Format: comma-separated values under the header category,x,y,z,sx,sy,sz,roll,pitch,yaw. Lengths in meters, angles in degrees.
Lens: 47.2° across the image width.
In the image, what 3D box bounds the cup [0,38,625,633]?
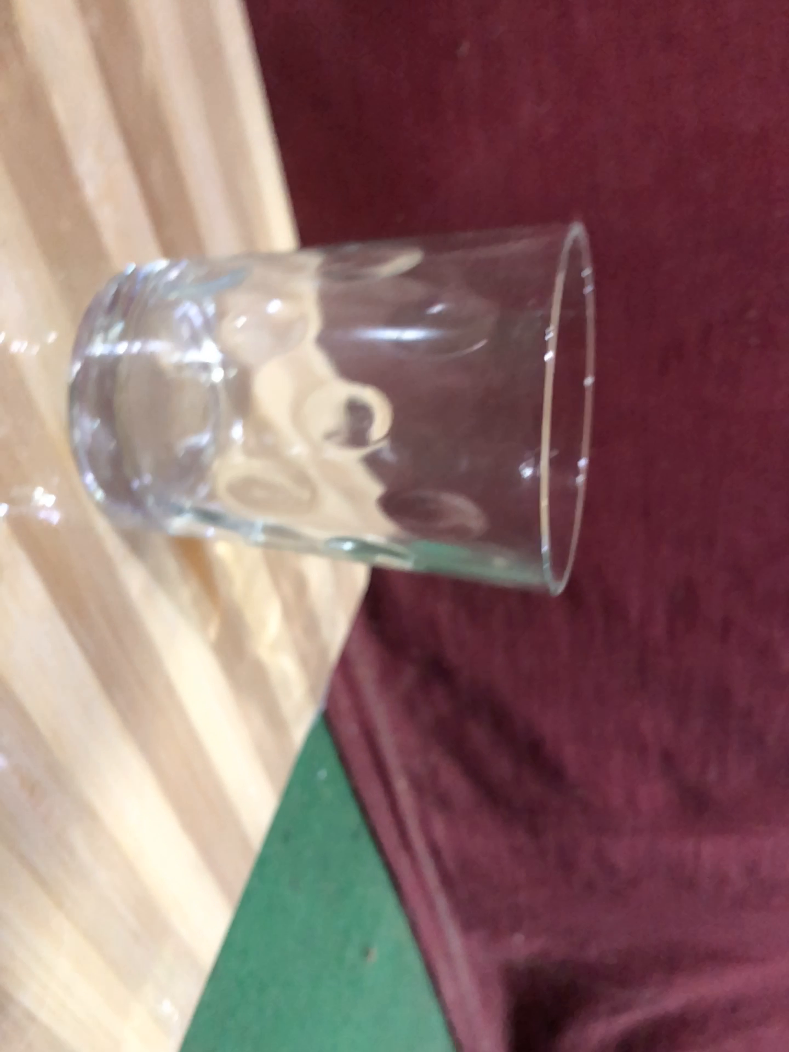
category,x,y,z,sx,sy,sz,roll,pitch,yaw
cup,-0.010,-0.031,0.214,0.100,0.119,0.100,2,90,-75
